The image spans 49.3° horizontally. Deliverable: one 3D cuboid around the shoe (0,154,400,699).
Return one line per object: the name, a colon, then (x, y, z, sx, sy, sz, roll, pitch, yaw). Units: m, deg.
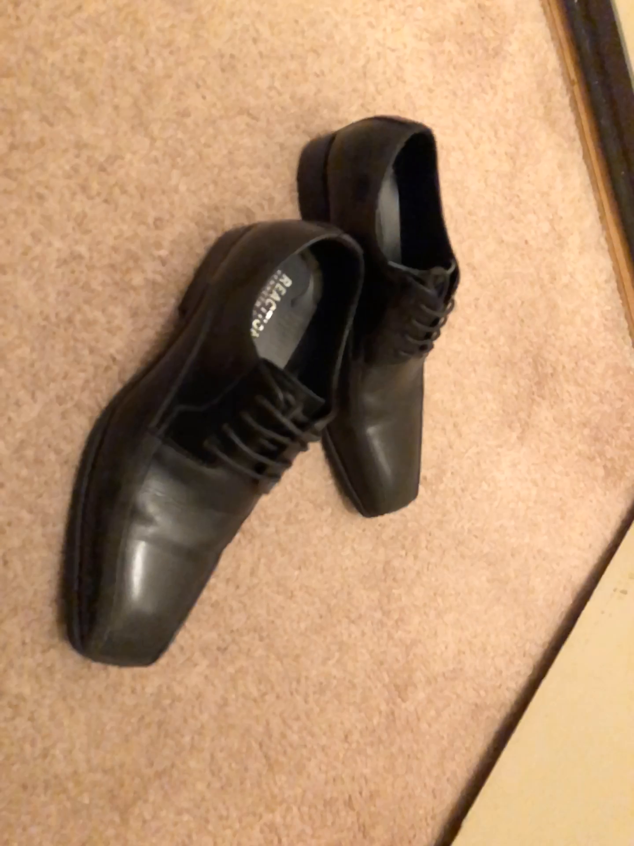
shoe: (-0.067, -0.001, 0.424, 0.110, 0.108, 0.283, 32, 72, -38)

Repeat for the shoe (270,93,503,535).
shoe: (0.058, -0.079, 0.546, 0.116, 0.110, 0.296, -13, 101, -40)
